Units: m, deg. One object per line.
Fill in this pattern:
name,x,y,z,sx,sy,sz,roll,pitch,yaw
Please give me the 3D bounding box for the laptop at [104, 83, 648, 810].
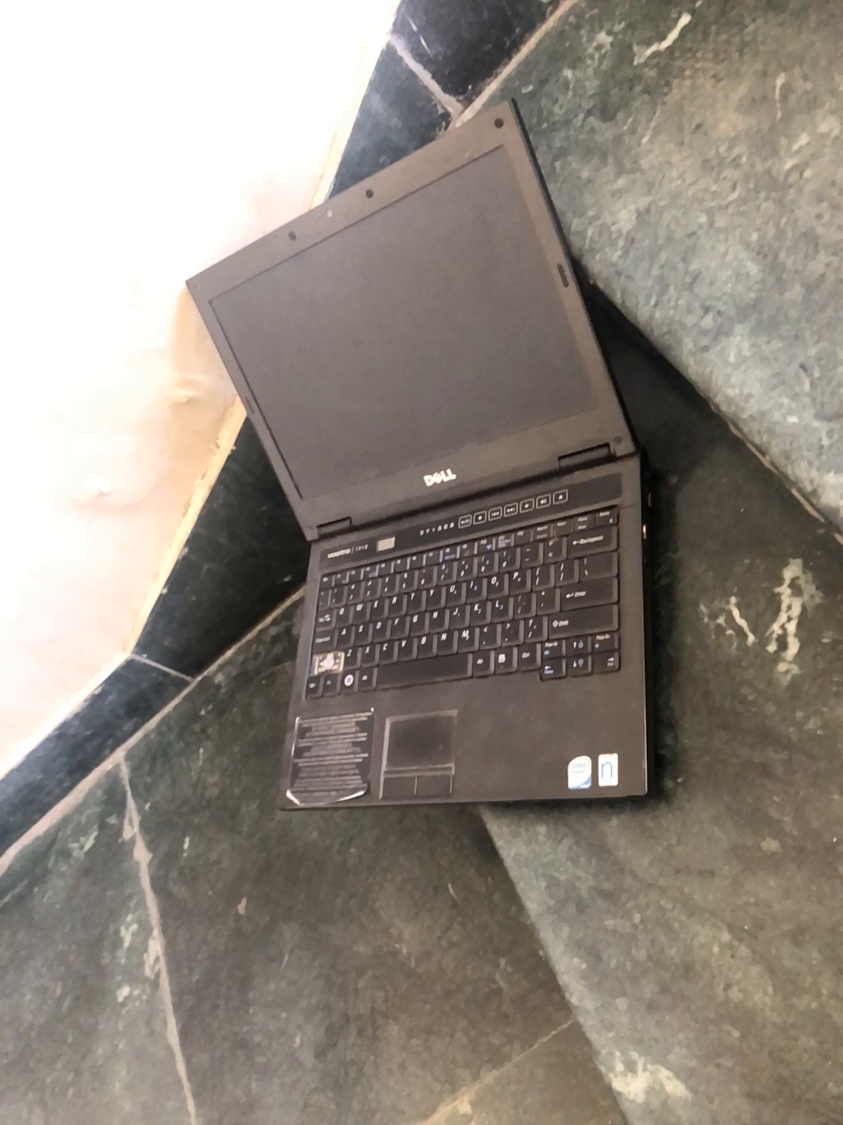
laptop,-0.023,-0.048,0.639,0.302,0.169,0.387,-12,63,36
